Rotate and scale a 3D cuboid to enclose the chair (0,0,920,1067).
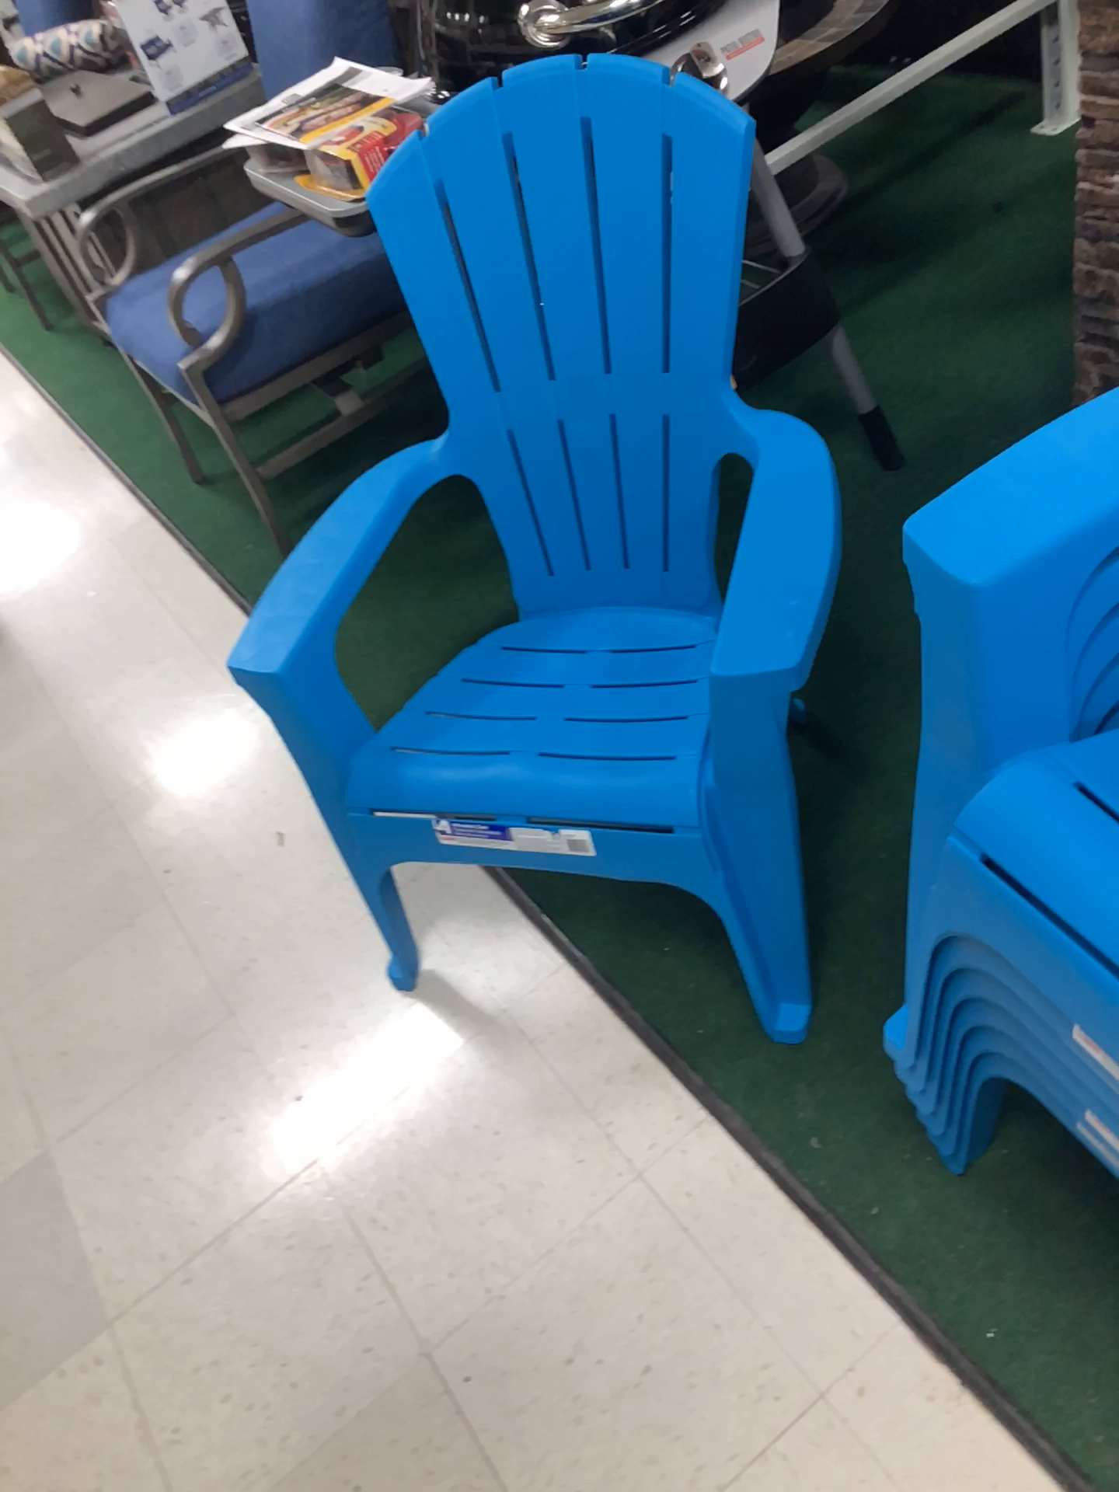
[{"bbox_3d":[-0.011,-0.191,1.456,0.682,0.932,0.649,2,48,25],"label":"chair"}]
